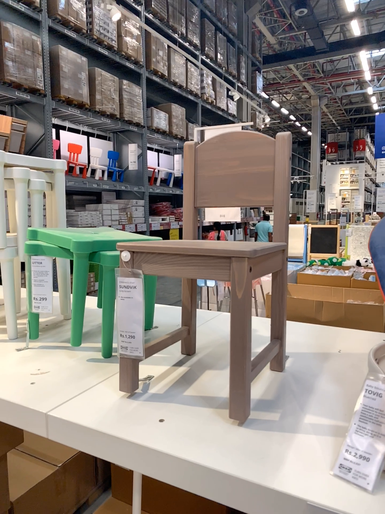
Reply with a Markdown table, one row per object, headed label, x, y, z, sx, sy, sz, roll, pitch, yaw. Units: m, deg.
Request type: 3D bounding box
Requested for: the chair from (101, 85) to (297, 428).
| label | x | y | z | sx | sy | sz | roll | pitch | yaw |
| --- | --- | --- | --- | --- | --- | --- | --- | --- | --- |
| chair | 0.035 | -0.012 | 0.795 | 0.270 | 0.519 | 0.320 | 3 | 7 | 27 |
